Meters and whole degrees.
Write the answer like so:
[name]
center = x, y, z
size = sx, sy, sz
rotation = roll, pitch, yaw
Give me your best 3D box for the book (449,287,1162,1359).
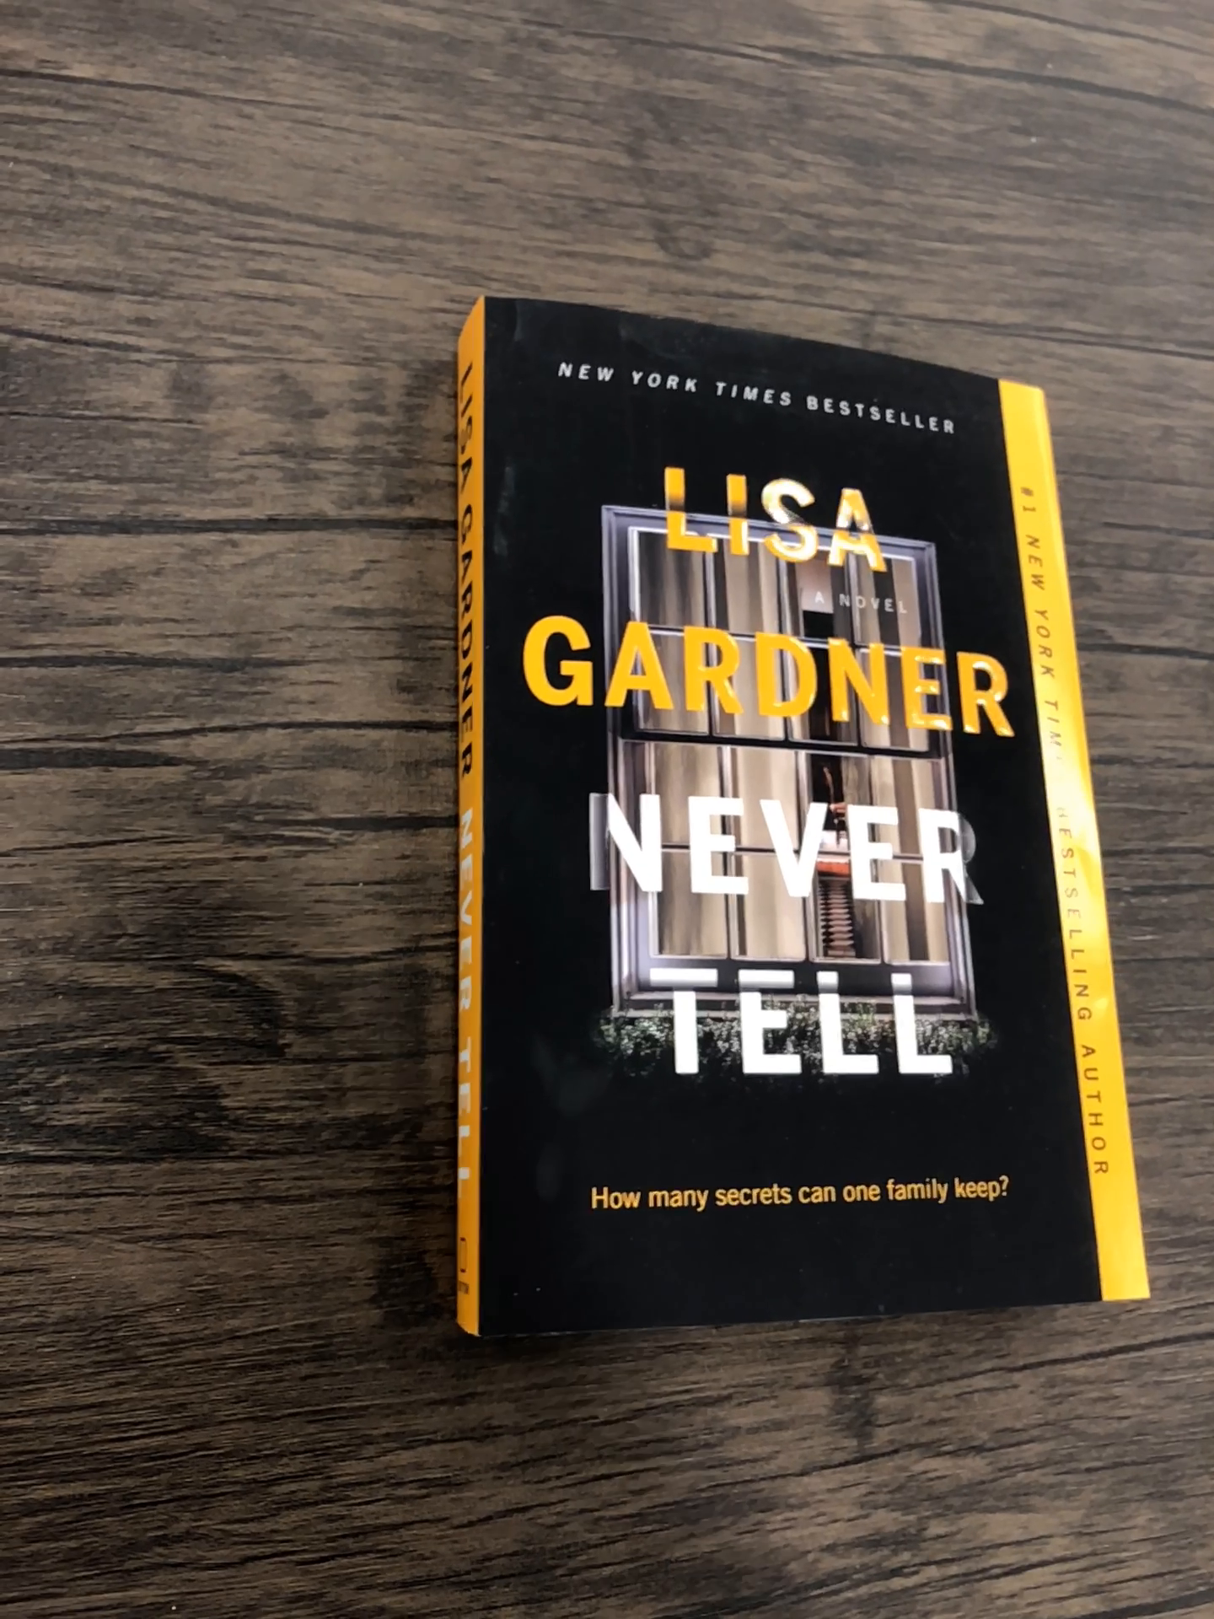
[book]
center = 0.038, 0.000, 0.290
size = 0.137, 0.032, 0.207
rotation = 4, 75, -17
